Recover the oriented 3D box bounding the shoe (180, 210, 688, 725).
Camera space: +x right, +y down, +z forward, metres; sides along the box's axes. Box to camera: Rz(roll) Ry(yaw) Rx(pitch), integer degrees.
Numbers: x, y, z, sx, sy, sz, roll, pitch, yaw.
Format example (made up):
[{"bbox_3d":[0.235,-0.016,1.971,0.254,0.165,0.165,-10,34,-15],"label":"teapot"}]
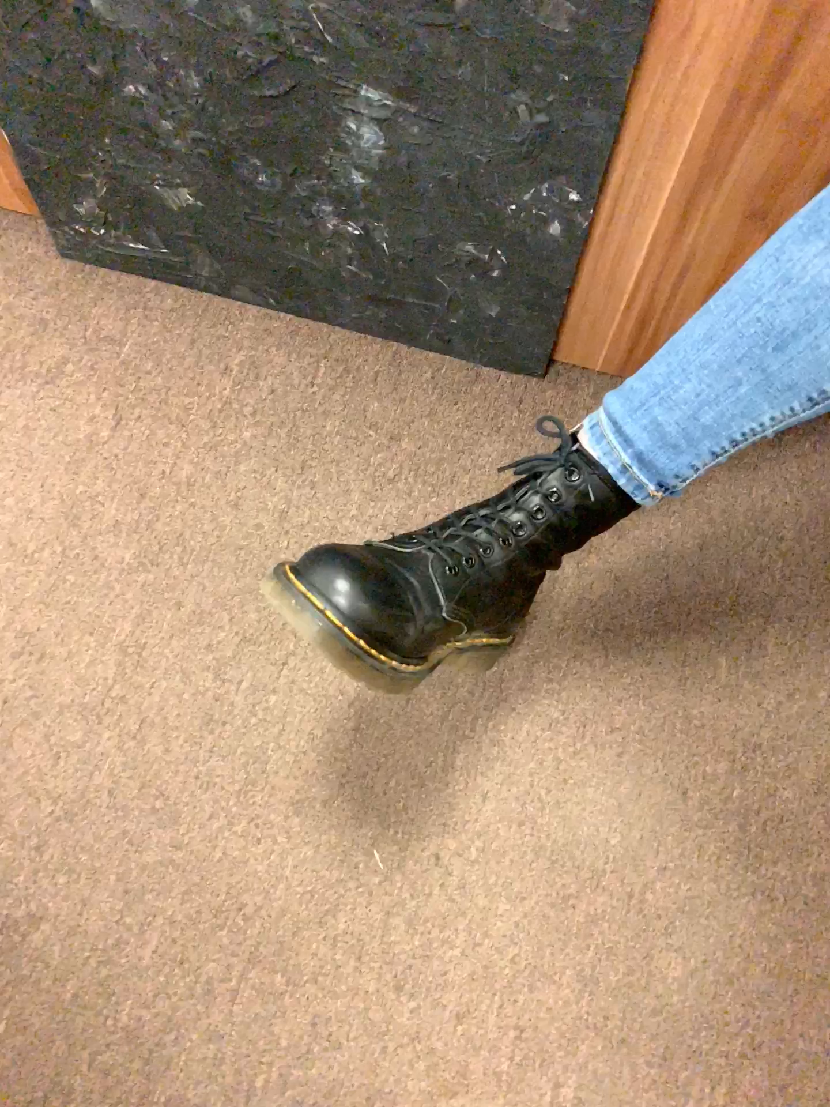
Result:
[{"bbox_3d":[0.054,-0.032,0.580,0.230,0.370,0.120,-45,75,12],"label":"shoe"}]
